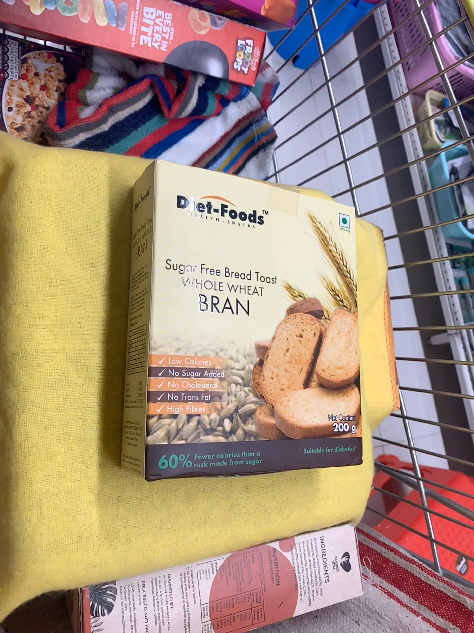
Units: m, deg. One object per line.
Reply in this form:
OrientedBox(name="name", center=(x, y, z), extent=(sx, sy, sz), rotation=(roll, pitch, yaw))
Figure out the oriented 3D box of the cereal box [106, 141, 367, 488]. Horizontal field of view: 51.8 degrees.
OrientedBox(name="cereal box", center=(0.003, 0.004, 0.290), extent=(0.140, 0.050, 0.170), rotation=(6, 78, -28))
